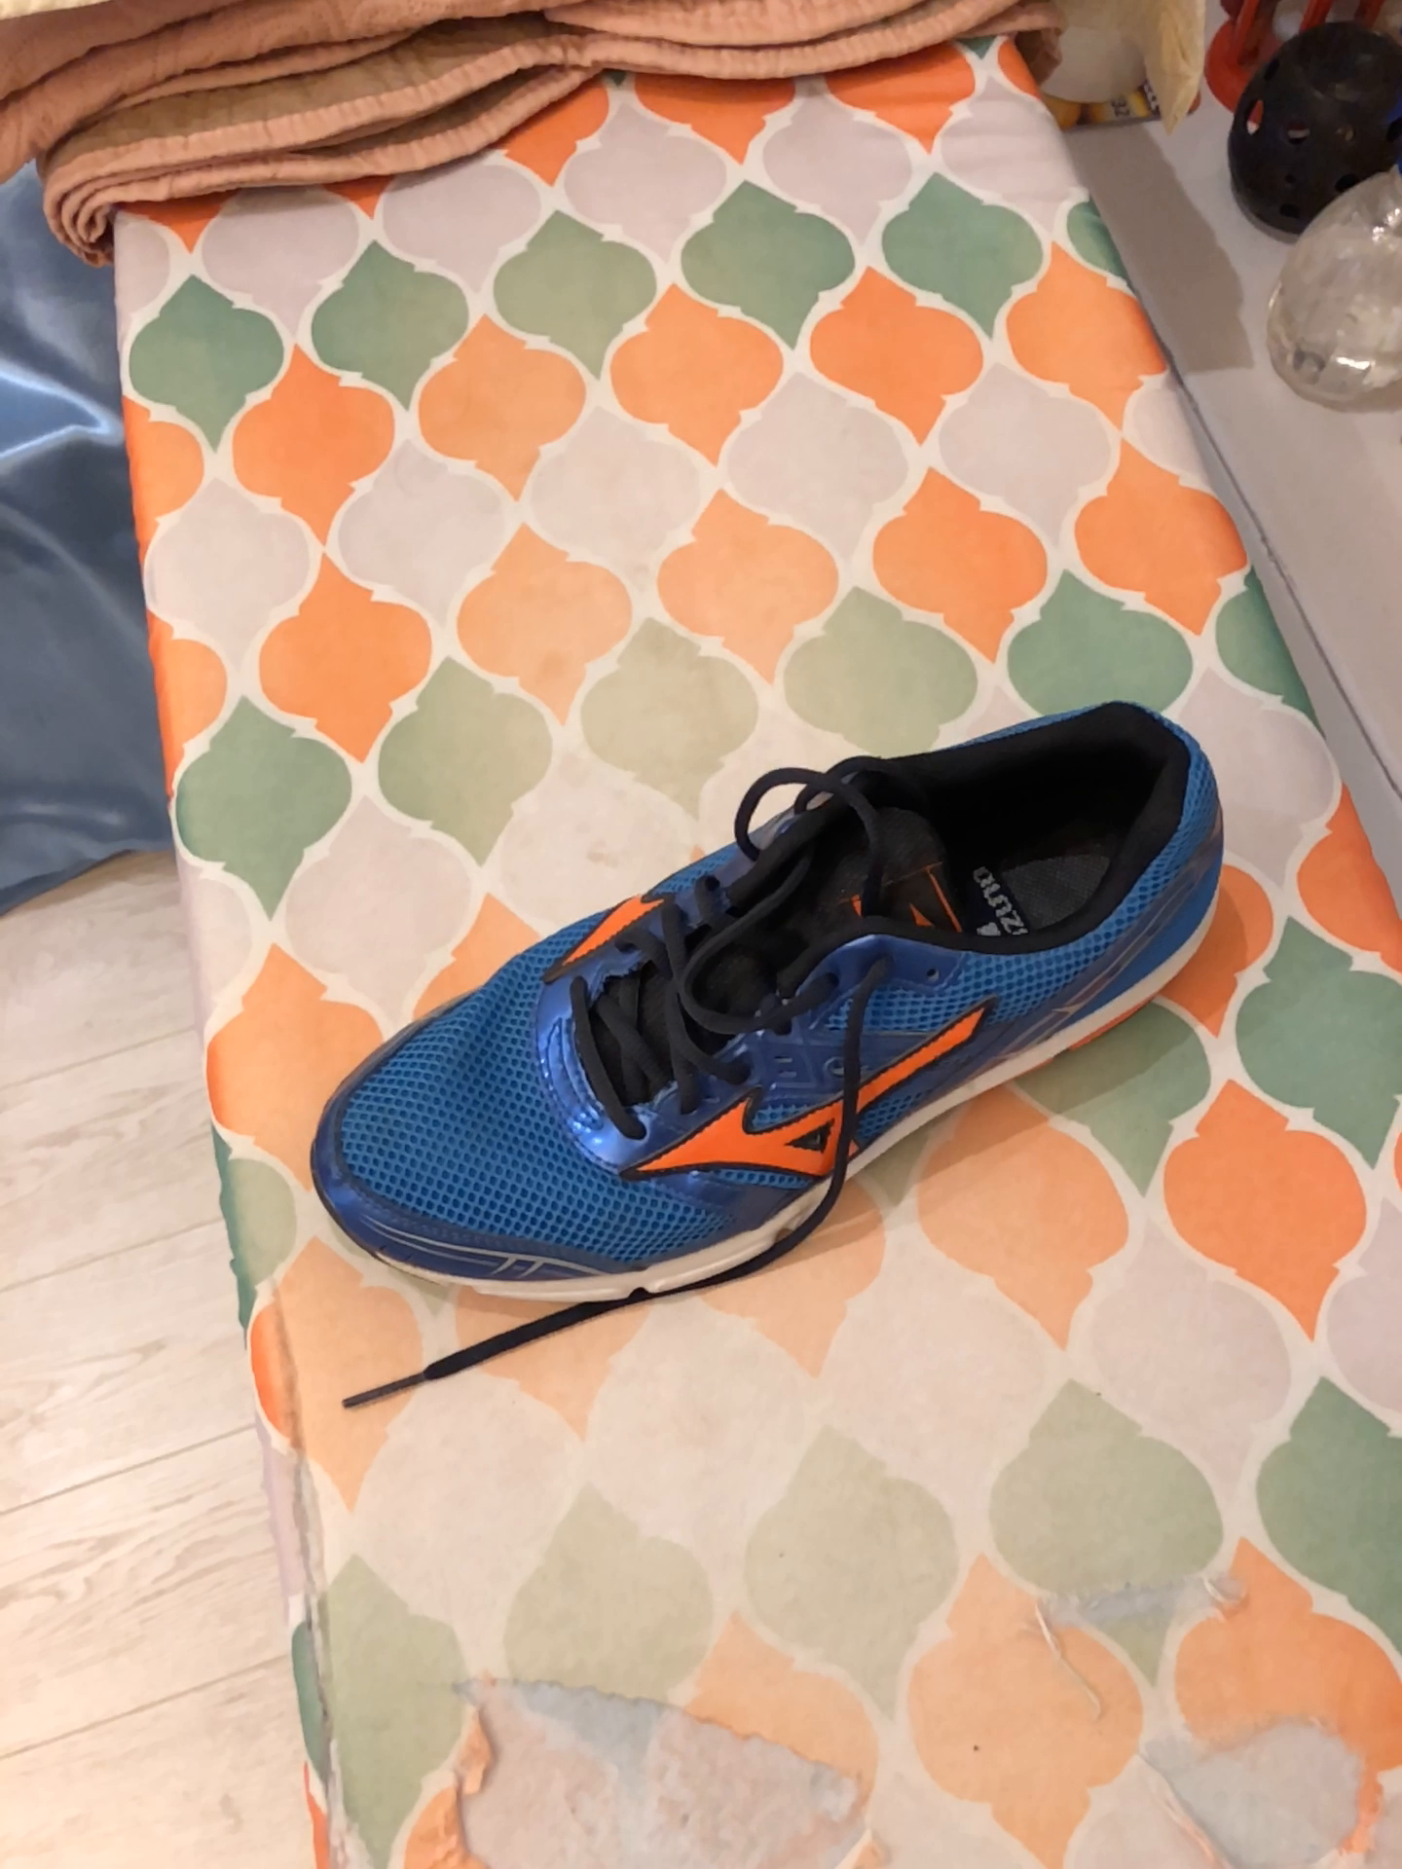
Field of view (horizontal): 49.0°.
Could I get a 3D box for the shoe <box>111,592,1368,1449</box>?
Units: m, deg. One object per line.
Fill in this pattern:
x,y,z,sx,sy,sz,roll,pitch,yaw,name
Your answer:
0.011,0.030,0.458,0.310,0.110,0.120,-22,71,-6,shoe
